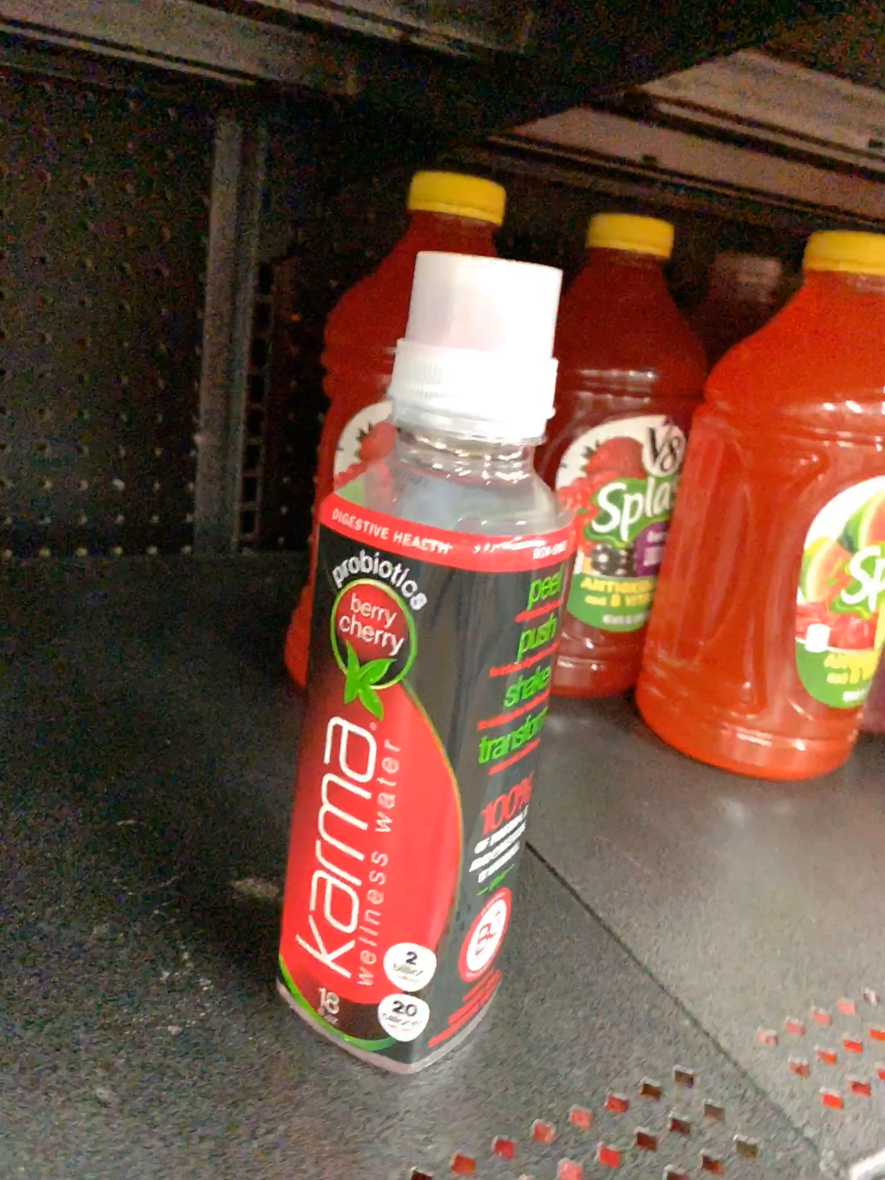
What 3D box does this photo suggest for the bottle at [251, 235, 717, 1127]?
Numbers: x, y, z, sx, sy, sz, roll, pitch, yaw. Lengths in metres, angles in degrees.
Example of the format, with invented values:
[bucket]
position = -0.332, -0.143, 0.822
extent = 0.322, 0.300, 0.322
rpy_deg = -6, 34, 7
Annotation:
[bottle]
position = 0.005, 0.023, 0.248
extent = 0.069, 0.209, 0.070
rpy_deg = 7, 19, -3
